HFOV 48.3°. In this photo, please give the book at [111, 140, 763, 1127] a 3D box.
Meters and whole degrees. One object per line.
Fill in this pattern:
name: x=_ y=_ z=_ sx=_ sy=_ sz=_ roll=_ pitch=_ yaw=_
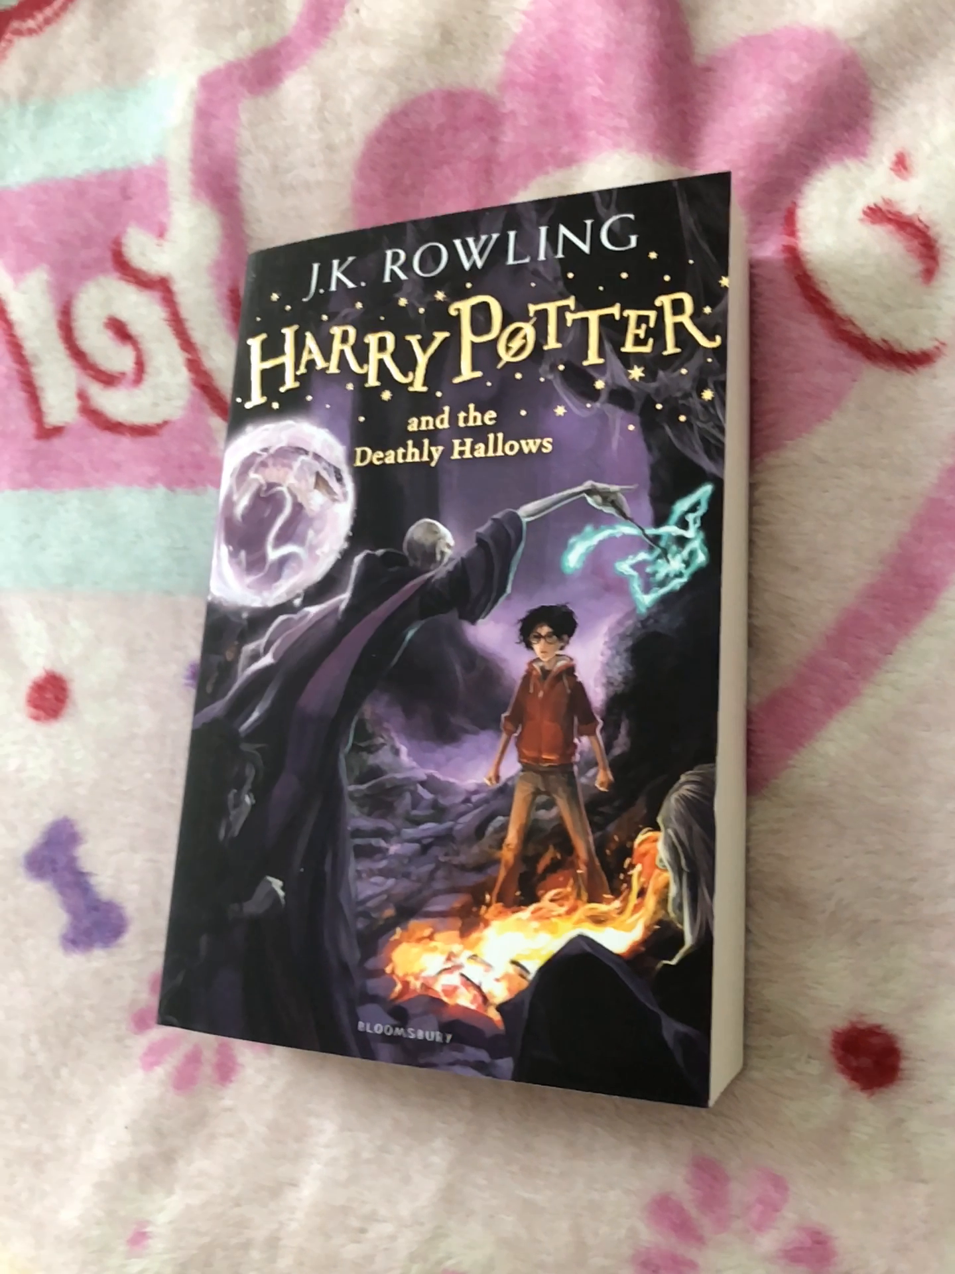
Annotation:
book: x=-0.003 y=-0.002 z=0.250 sx=0.126 sy=0.060 sz=0.187 roll=-1 pitch=78 yaw=23
